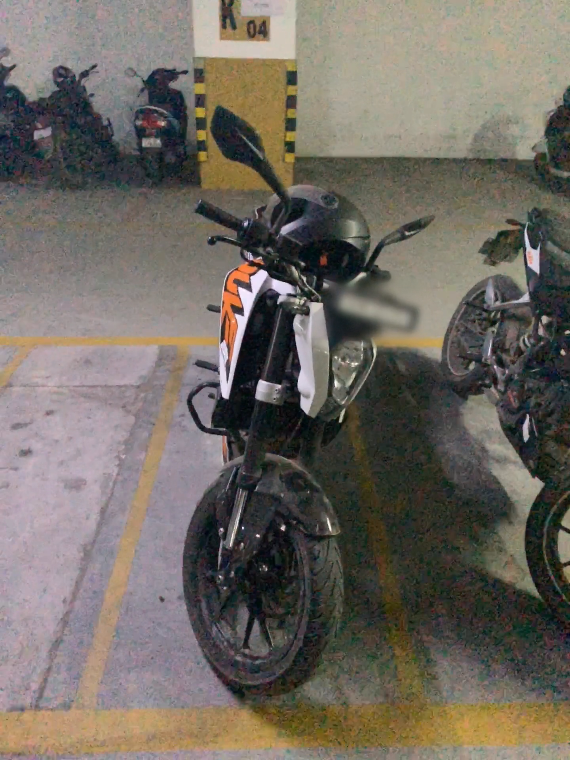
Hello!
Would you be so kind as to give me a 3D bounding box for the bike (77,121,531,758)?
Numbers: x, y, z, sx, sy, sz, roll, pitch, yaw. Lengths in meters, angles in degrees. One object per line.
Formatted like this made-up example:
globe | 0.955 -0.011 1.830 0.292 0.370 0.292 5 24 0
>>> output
bike | 0.007 -0.058 2.085 0.802 1.182 1.922 0 35 -2
